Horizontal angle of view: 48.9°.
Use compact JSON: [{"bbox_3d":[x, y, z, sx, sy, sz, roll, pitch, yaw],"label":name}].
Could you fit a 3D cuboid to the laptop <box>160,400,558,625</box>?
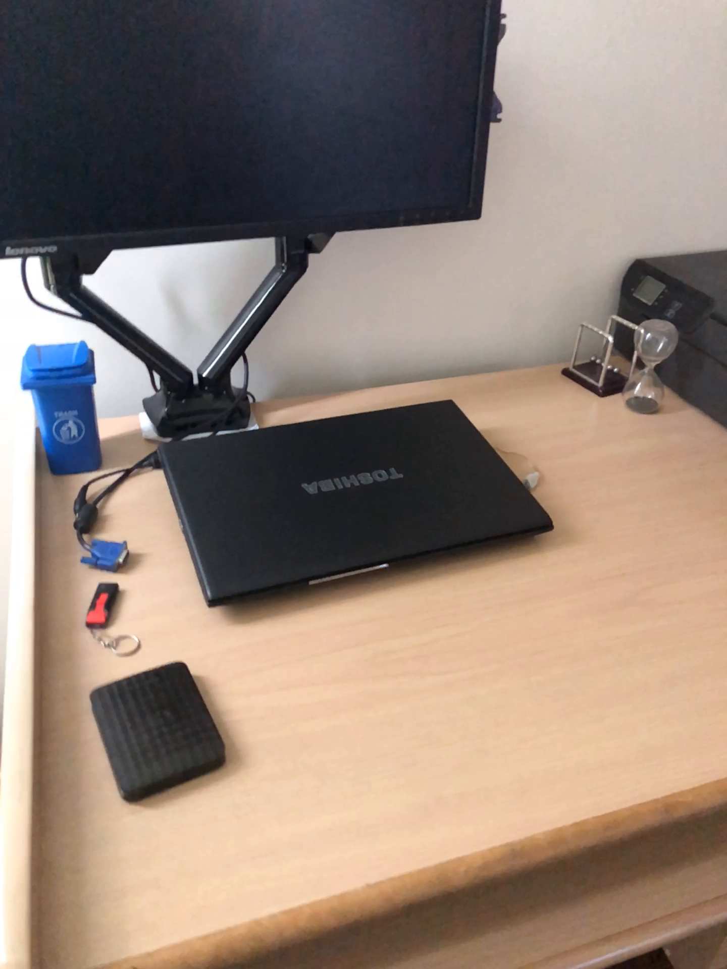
[{"bbox_3d":[-0.012,0.011,0.907,0.380,0.029,0.258,-10,41,-20],"label":"laptop"}]
